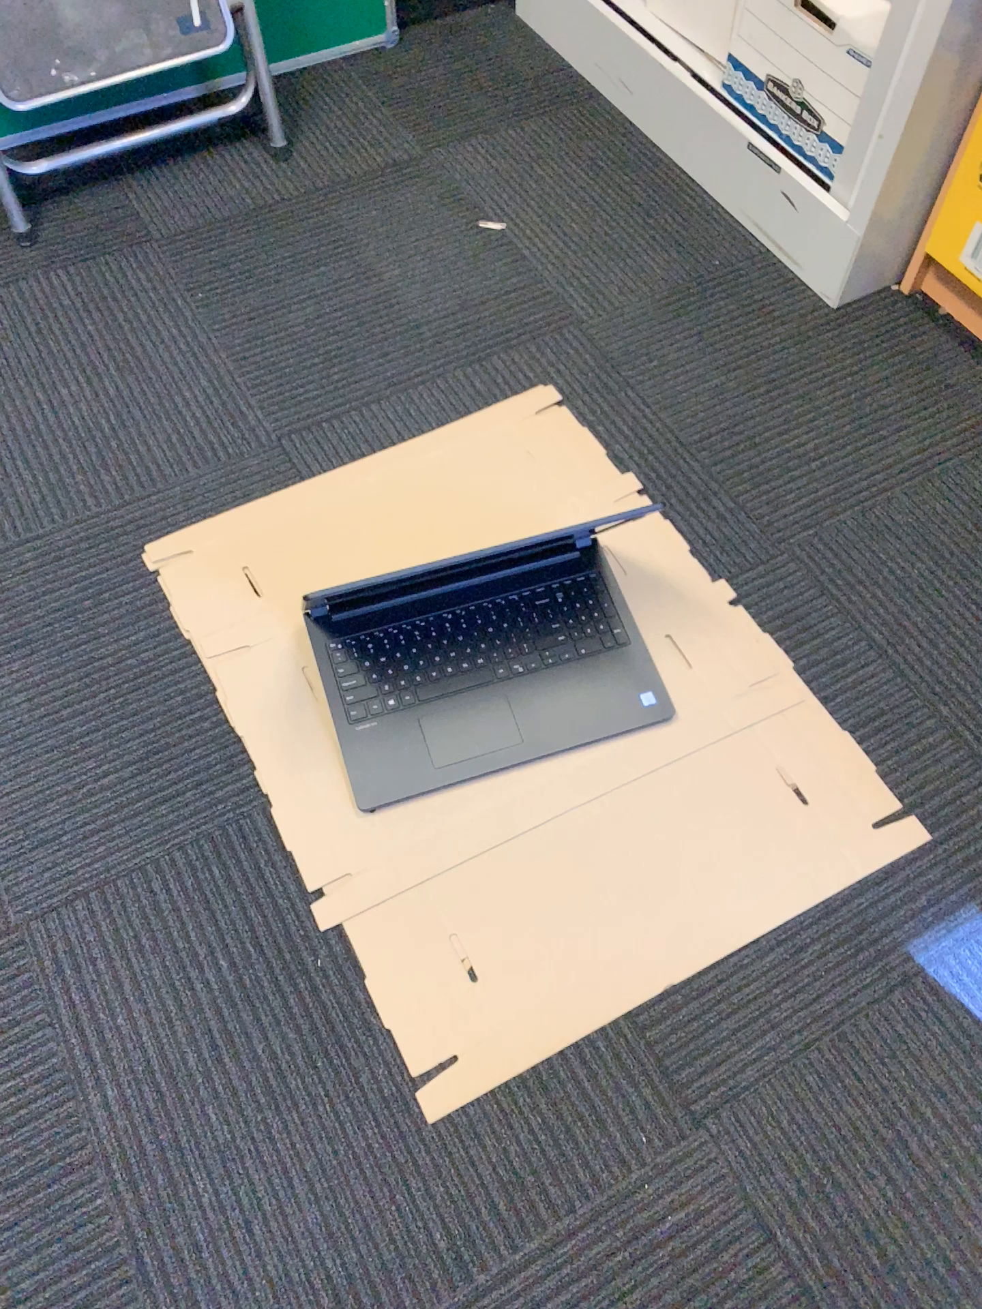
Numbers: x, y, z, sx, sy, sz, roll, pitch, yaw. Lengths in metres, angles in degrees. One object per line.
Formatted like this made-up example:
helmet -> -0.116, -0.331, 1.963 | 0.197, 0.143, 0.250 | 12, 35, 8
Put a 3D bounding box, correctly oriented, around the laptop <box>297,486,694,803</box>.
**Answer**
laptop -> 0.000, -0.017, 1.021 | 0.341, 0.085, 0.221 | -15, 63, -11
